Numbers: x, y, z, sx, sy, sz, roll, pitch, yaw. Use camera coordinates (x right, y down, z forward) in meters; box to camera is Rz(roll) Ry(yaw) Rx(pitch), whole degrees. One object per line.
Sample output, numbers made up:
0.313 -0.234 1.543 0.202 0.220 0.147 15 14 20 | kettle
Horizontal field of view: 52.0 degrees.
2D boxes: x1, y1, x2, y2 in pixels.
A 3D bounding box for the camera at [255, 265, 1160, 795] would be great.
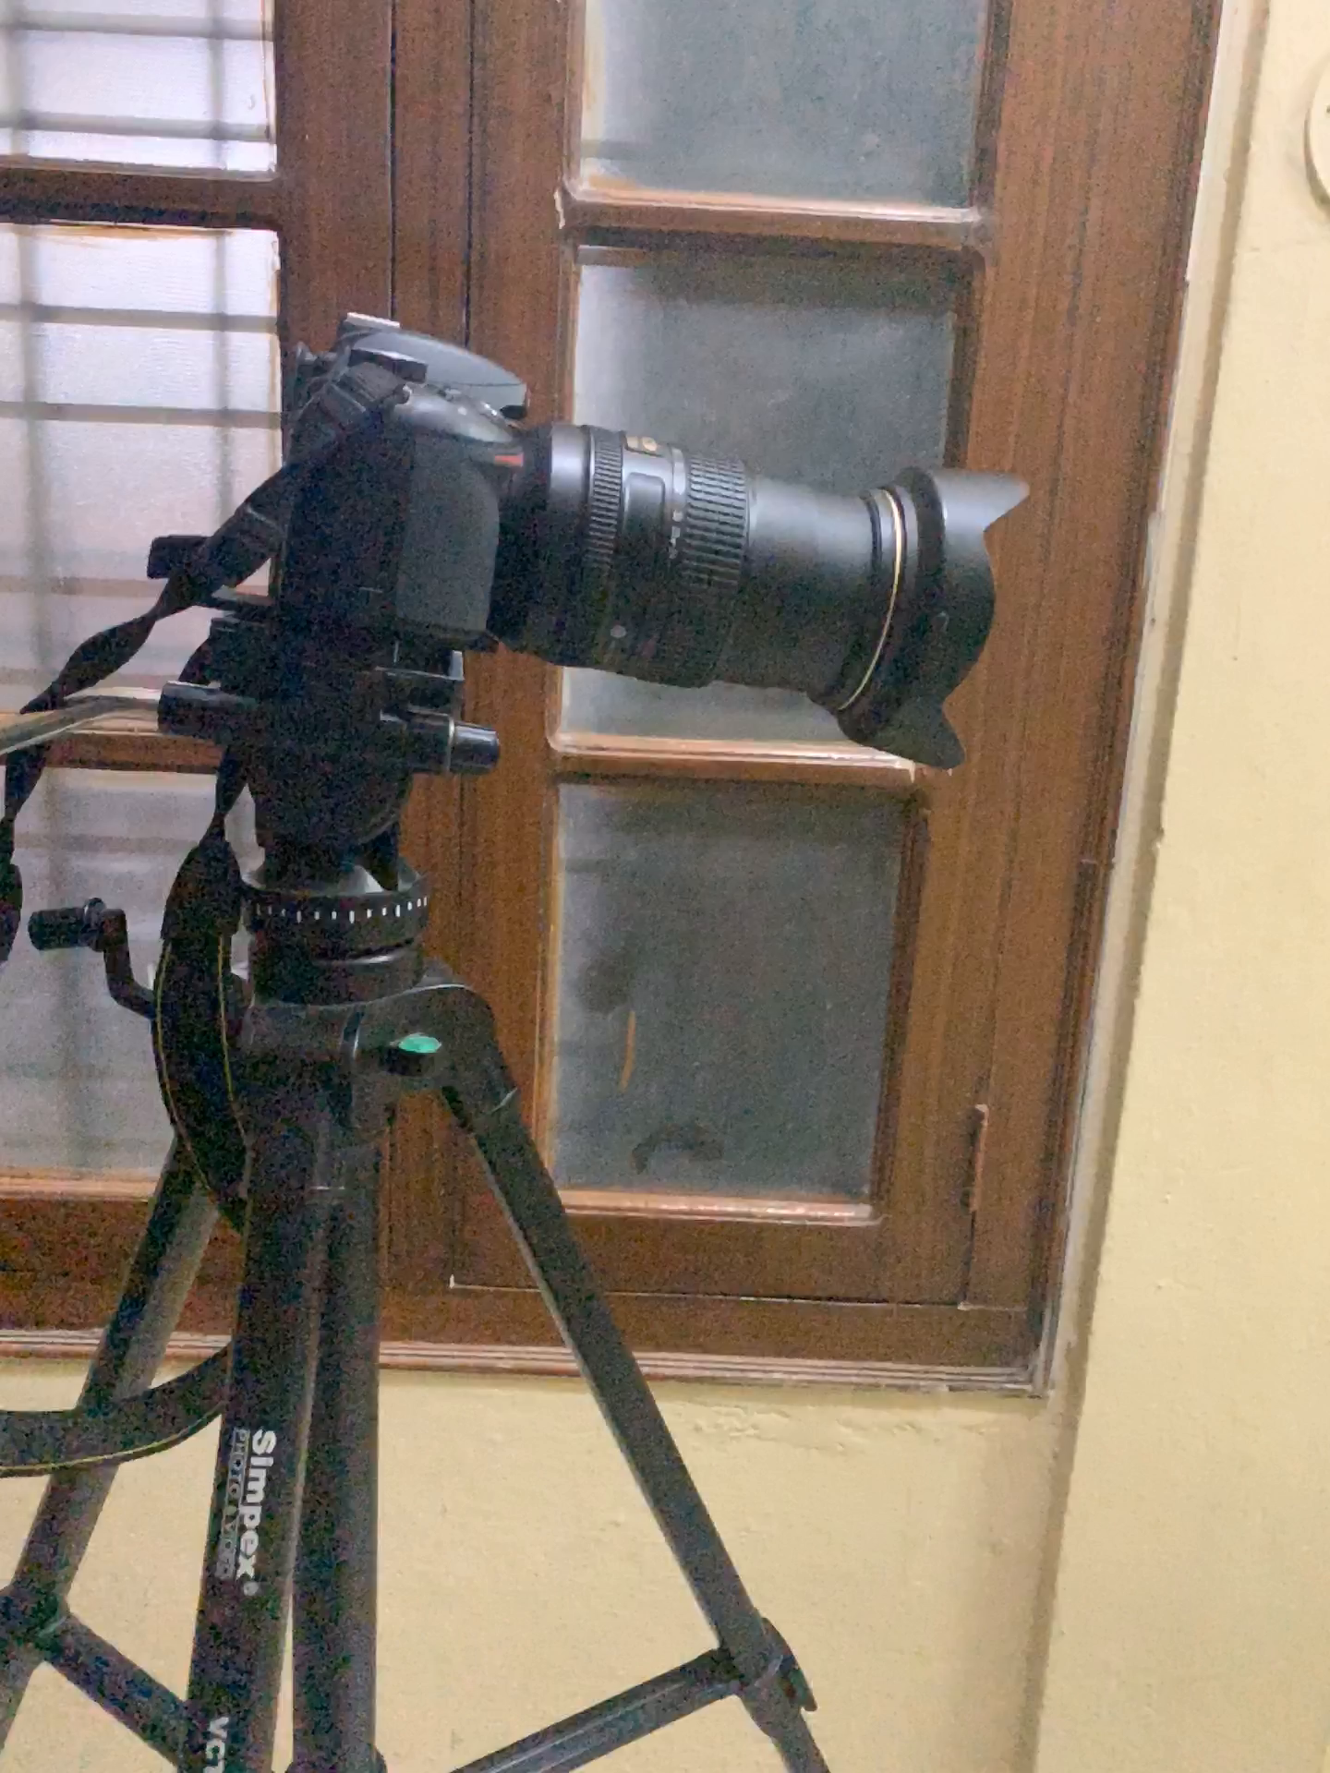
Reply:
0.008 -0.122 0.490 0.270 0.120 0.130 7 13 -8 | camera
